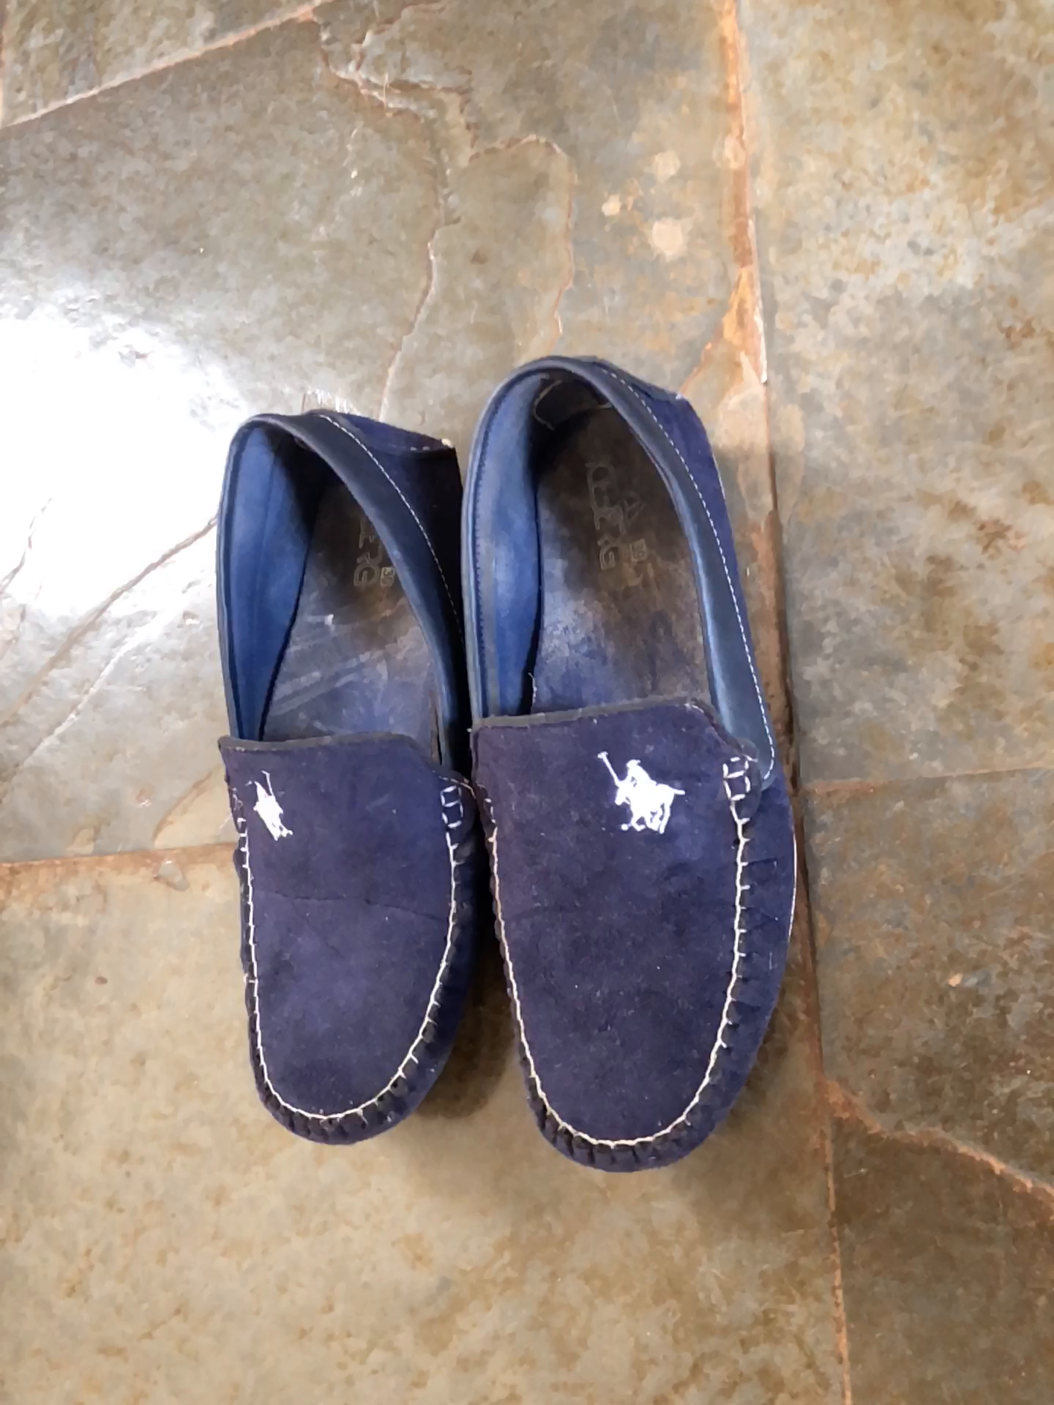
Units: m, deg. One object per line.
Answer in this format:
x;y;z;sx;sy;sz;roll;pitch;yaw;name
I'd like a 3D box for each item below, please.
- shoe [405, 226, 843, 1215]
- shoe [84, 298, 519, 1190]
0.030;0.006;0.358;0.100;0.090;0.260;-6;76;22;shoe
-0.068;0.014;0.393;0.100;0.090;0.260;-6;76;22;shoe
